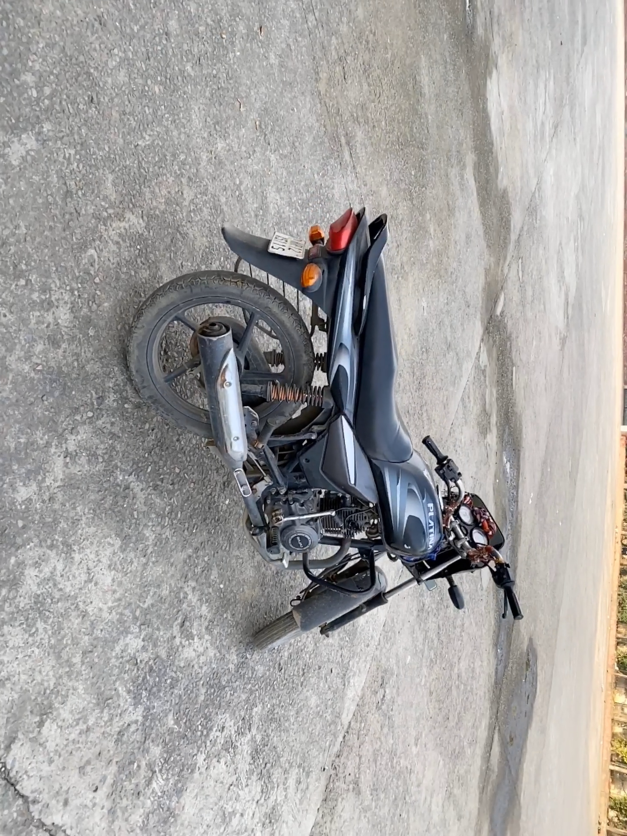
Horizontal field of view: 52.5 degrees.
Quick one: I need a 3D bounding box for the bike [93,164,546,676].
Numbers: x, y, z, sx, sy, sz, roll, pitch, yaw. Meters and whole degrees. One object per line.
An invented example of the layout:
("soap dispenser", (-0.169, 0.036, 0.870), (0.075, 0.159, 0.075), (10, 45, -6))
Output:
("bike", (0.226, 0.103, 2.420), (0.774, 1.078, 1.742), (-62, 144, -41))
